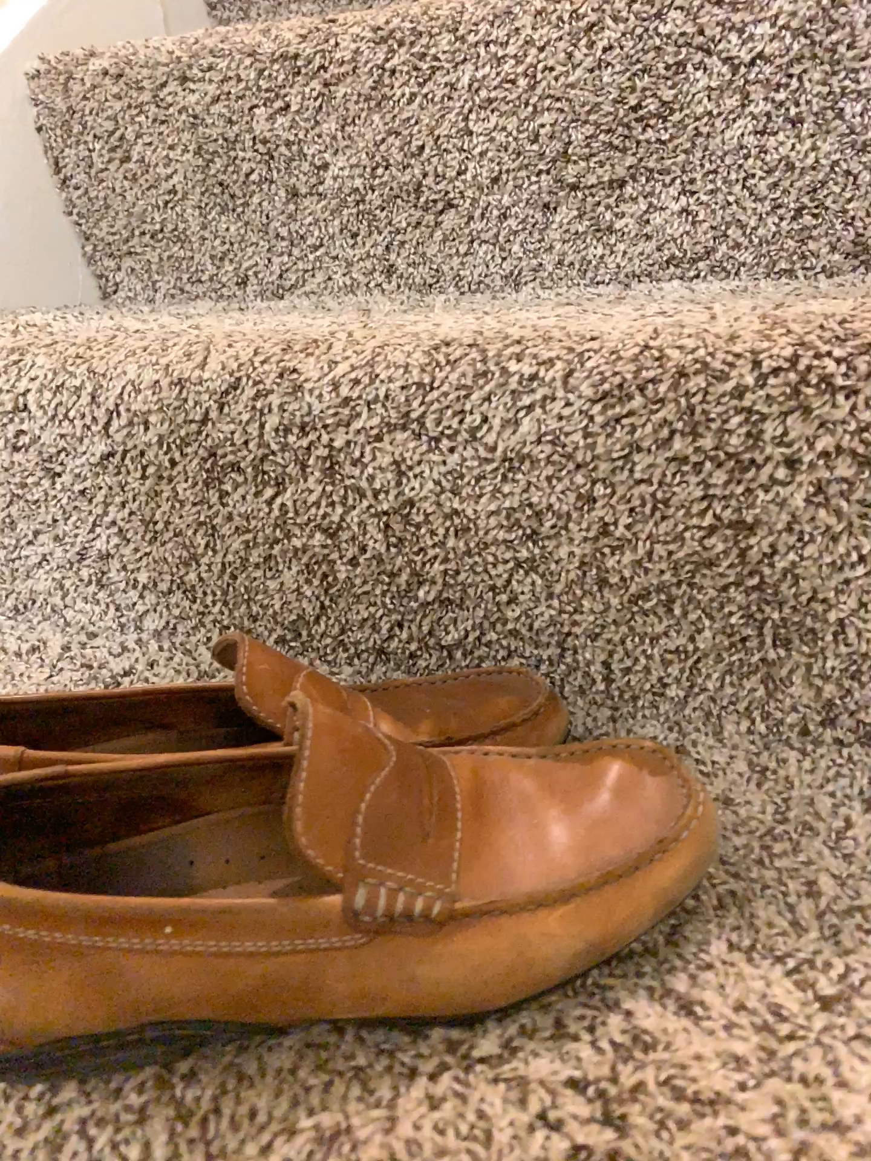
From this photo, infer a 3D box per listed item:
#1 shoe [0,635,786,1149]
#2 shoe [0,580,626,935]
[{"bbox_3d":[-0.040,0.092,0.317,0.280,0.070,0.120,-6,20,-9],"label":"shoe"},{"bbox_3d":[-0.072,0.063,0.370,0.280,0.070,0.090,-6,20,-9],"label":"shoe"}]
